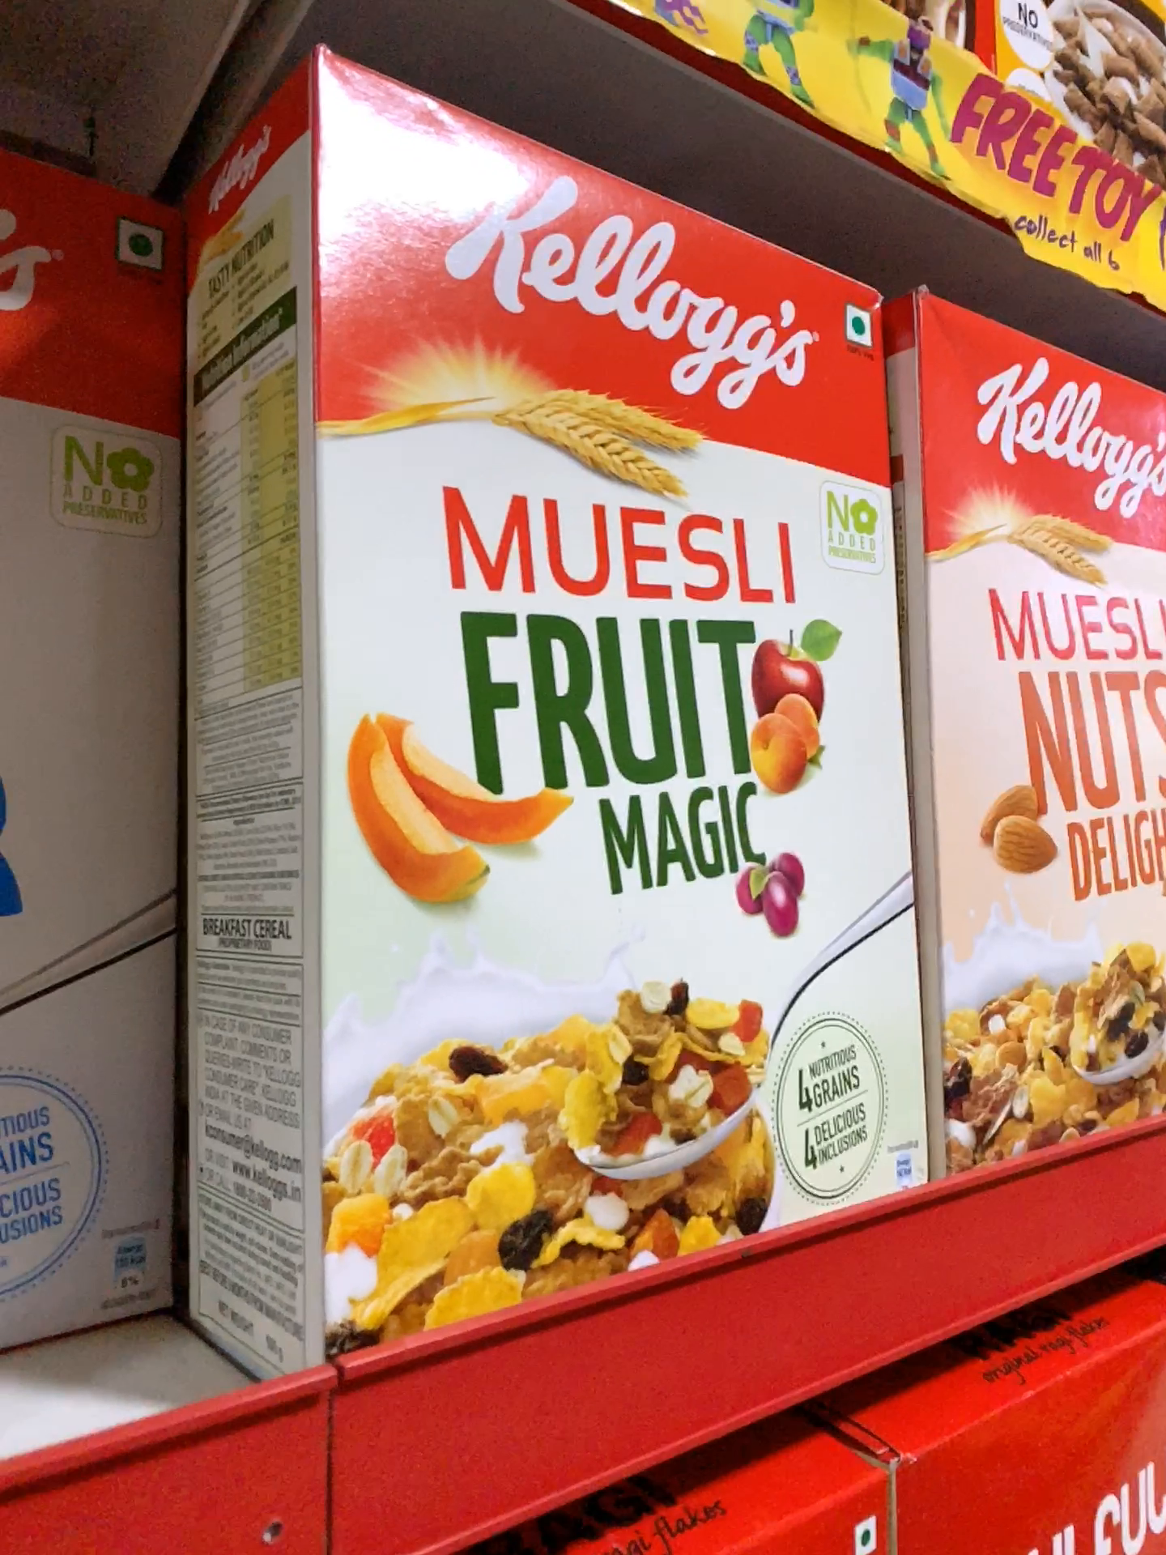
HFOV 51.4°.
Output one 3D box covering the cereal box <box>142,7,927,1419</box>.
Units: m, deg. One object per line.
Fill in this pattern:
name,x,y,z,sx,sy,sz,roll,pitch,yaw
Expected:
cereal box,-0.002,-0.012,0.286,0.180,0.240,0.060,3,-6,-41
